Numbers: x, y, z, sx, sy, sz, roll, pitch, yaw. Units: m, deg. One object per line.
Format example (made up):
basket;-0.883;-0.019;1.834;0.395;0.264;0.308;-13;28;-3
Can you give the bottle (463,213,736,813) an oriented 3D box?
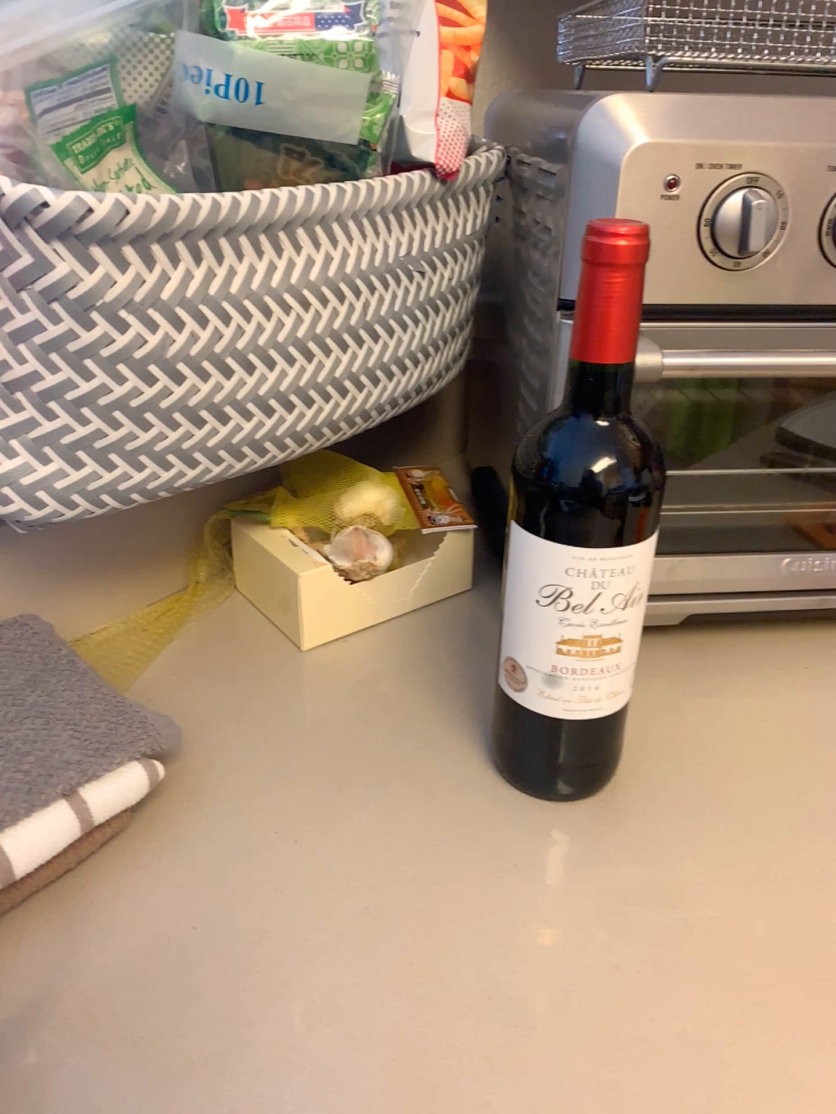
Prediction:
bottle;0.076;-0.013;0.430;0.080;0.288;0.081;1;28;0
